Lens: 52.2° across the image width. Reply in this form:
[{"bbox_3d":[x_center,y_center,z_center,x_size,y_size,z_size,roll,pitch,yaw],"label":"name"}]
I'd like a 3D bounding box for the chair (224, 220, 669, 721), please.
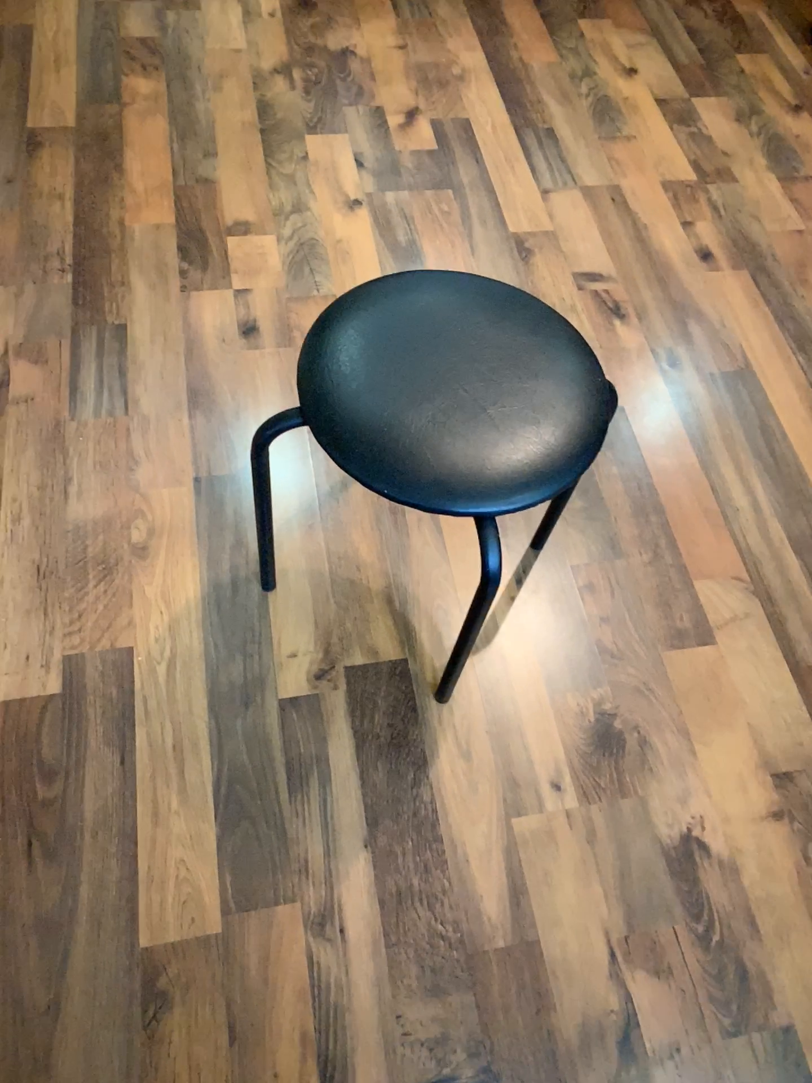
[{"bbox_3d":[0.036,-0.070,1.051,0.350,0.427,0.332,30,61,12],"label":"chair"}]
